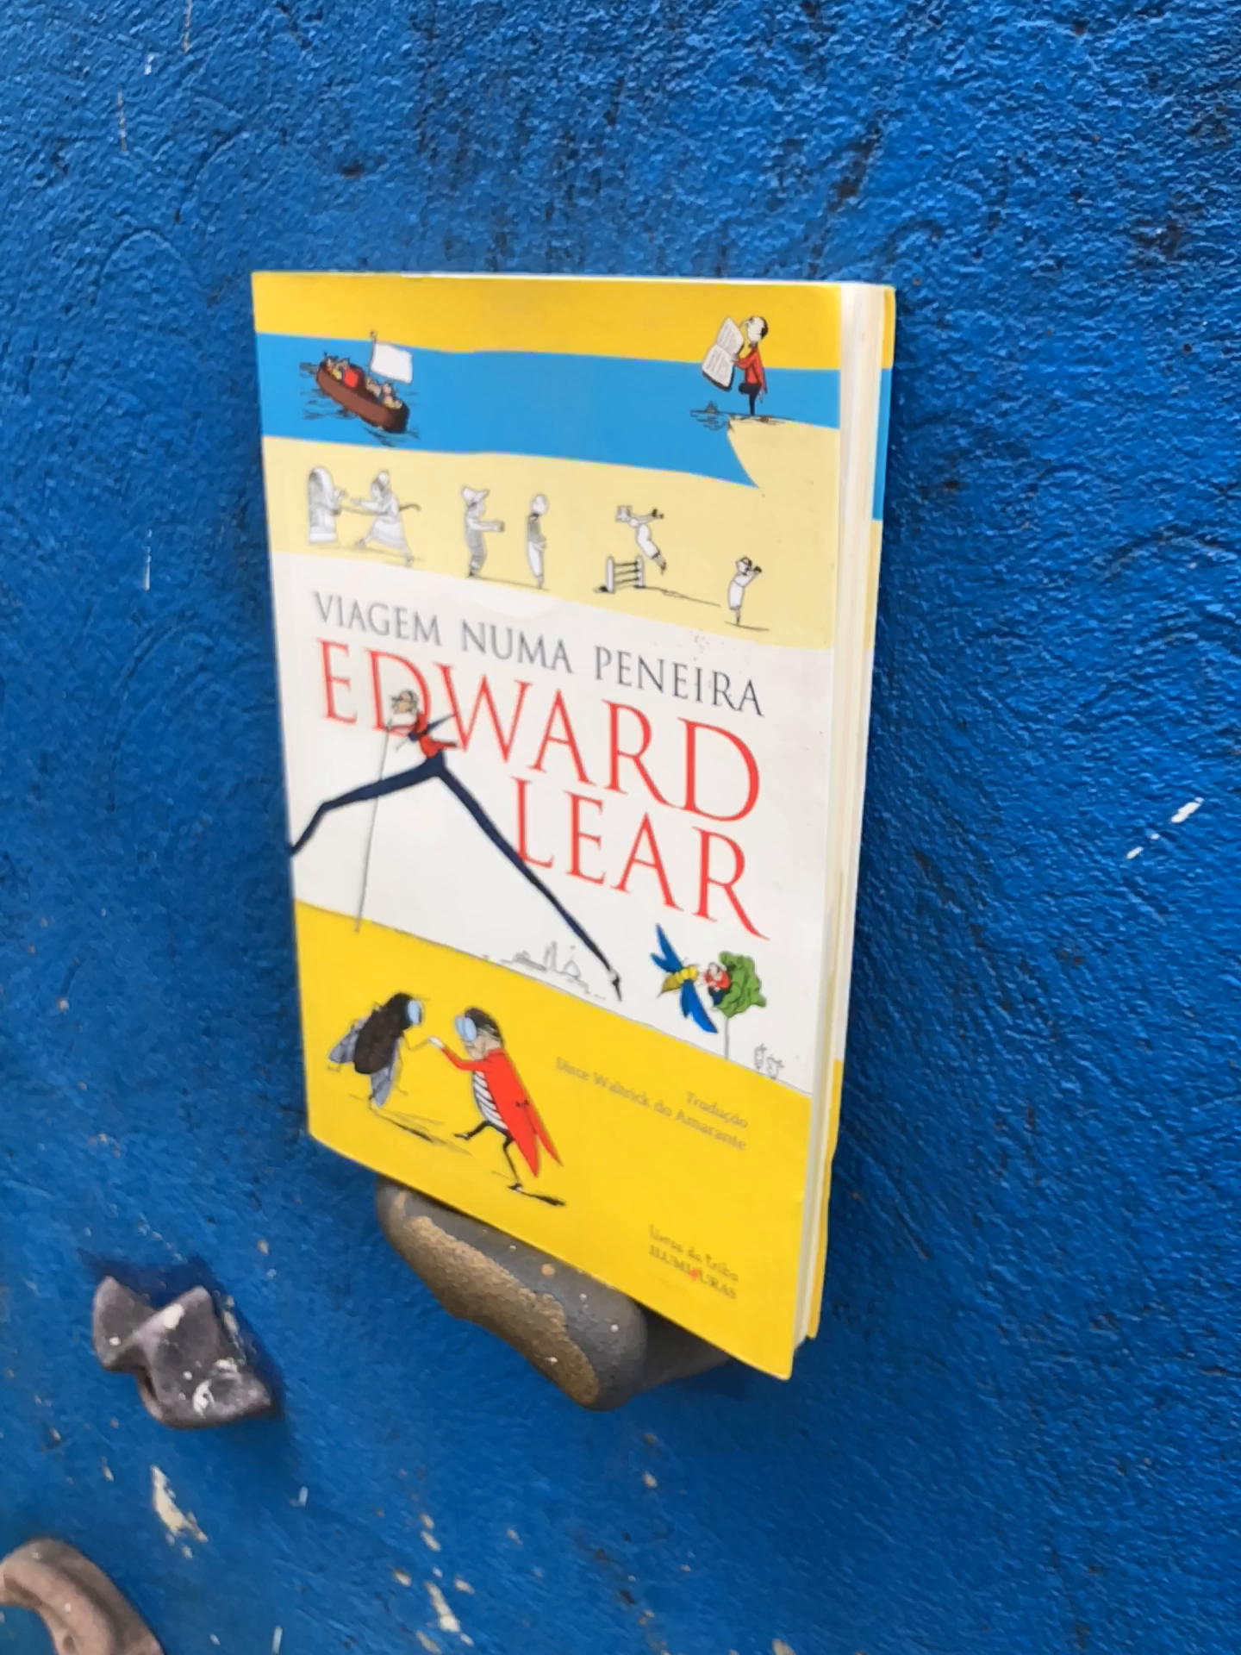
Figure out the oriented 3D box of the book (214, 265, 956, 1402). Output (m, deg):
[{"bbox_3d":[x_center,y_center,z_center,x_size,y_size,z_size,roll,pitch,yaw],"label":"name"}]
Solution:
[{"bbox_3d":[-0.017,-0.003,0.301,0.158,0.219,0.022,15,26,33],"label":"book"}]
